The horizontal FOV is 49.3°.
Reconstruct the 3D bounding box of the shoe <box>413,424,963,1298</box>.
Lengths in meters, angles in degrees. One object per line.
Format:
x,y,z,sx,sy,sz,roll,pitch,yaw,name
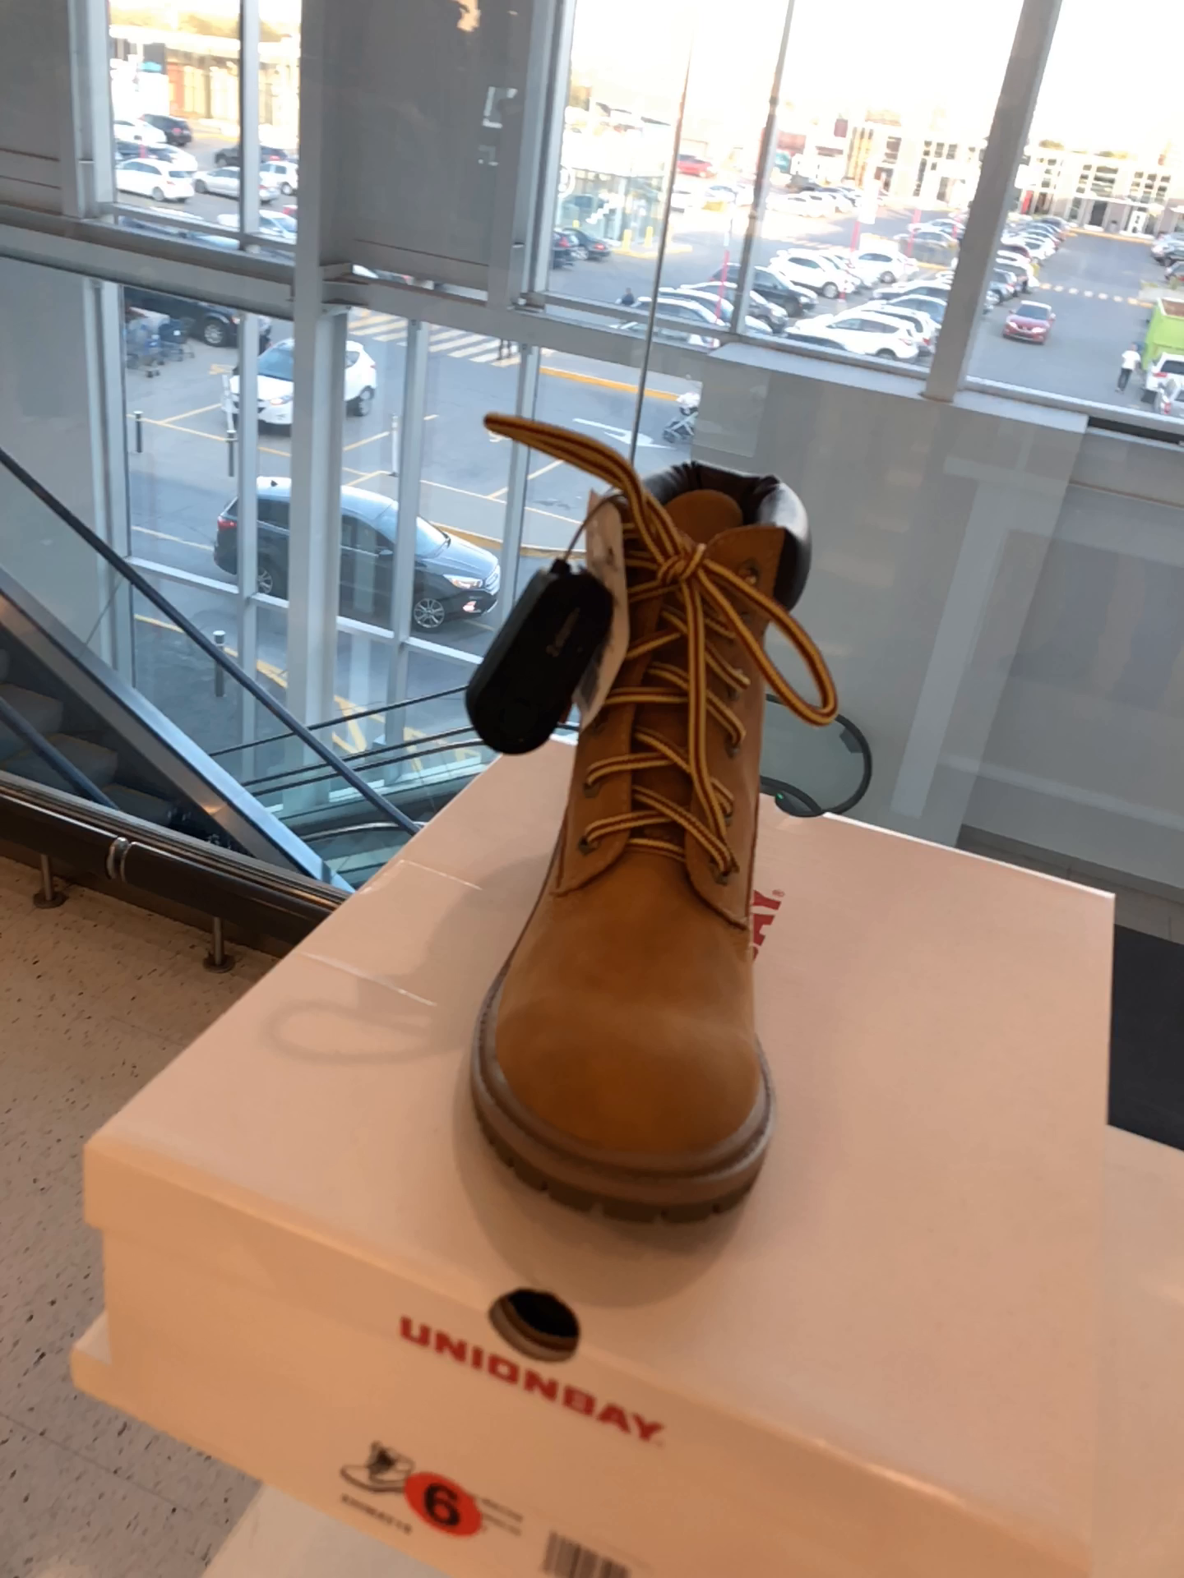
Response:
0.028,0.000,0.422,0.107,0.169,0.242,10,28,2,shoe
